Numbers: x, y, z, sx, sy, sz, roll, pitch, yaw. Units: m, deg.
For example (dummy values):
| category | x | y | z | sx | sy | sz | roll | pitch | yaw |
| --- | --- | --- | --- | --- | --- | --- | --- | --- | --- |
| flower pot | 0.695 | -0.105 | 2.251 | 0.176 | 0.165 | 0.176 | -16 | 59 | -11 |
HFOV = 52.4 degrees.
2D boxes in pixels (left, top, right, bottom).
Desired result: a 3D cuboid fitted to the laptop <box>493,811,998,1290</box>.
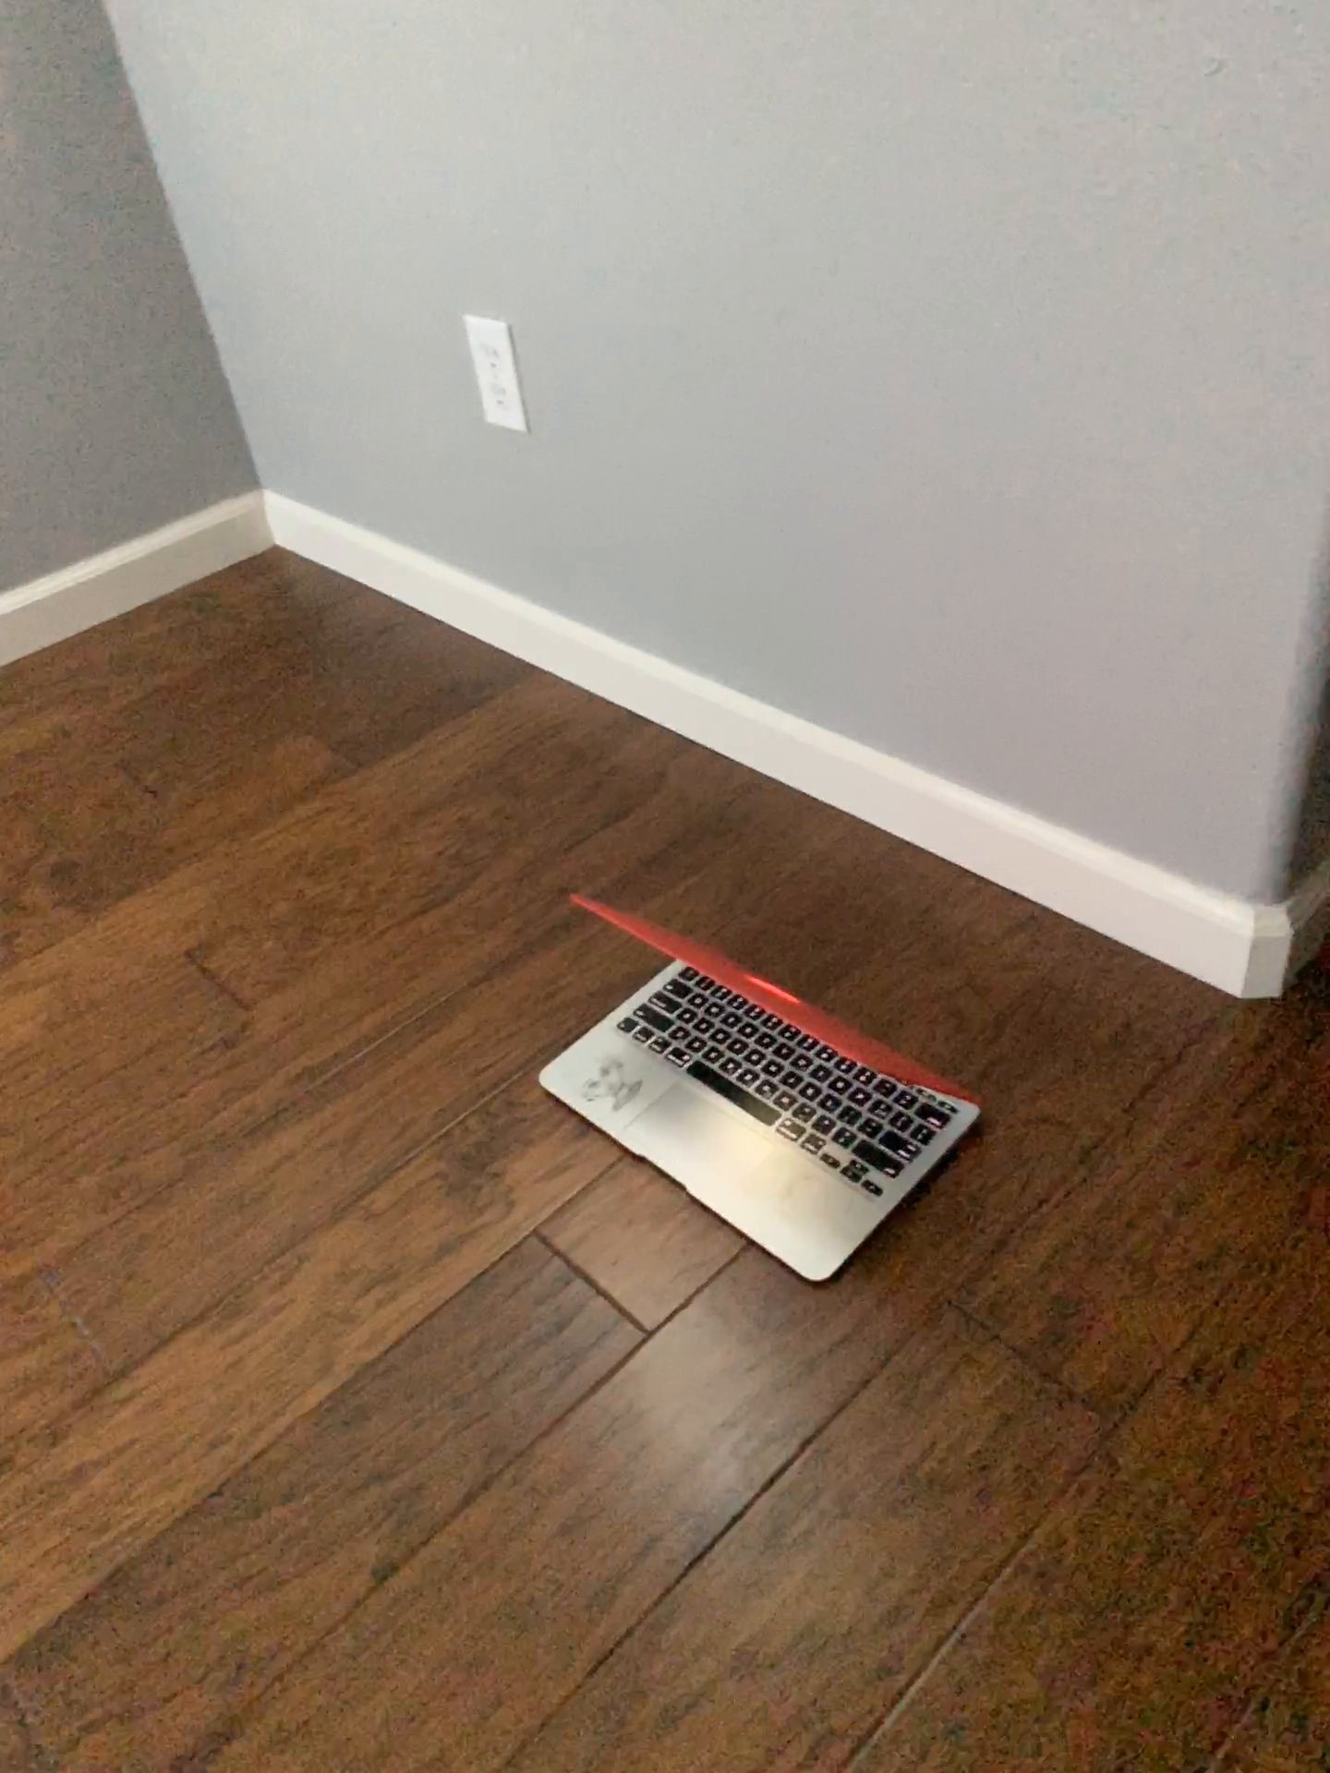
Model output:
| category | x | y | z | sx | sy | sz | roll | pitch | yaw |
| --- | --- | --- | --- | --- | --- | --- | --- | --- | --- |
| laptop | 0.058 | 0.103 | 0.992 | 0.302 | 0.139 | 0.198 | 28 | 52 | 37 |
